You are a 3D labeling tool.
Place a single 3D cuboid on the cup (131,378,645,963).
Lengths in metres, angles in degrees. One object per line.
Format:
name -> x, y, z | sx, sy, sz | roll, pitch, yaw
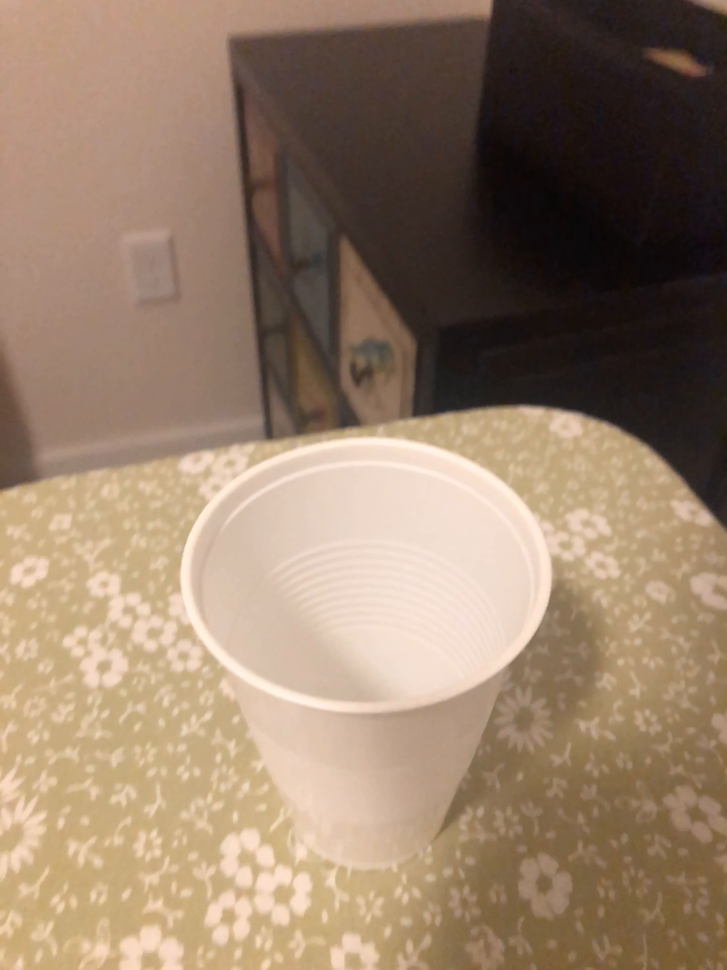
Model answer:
cup -> 0.003, 0.042, 0.203 | 0.078, 0.090, 0.079 | 0, 41, 0
